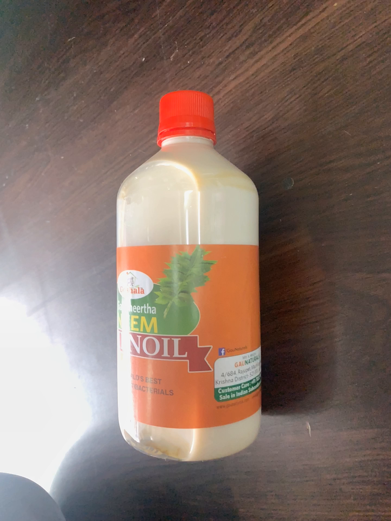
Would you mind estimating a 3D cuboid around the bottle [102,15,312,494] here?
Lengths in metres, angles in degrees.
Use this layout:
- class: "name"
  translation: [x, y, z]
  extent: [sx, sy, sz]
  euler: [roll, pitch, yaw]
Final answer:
- class: "bottle"
  translation: [0.007, -0.002, 0.213]
  extent: [0.080, 0.070, 0.190]
  euler: [0, 91, 39]
